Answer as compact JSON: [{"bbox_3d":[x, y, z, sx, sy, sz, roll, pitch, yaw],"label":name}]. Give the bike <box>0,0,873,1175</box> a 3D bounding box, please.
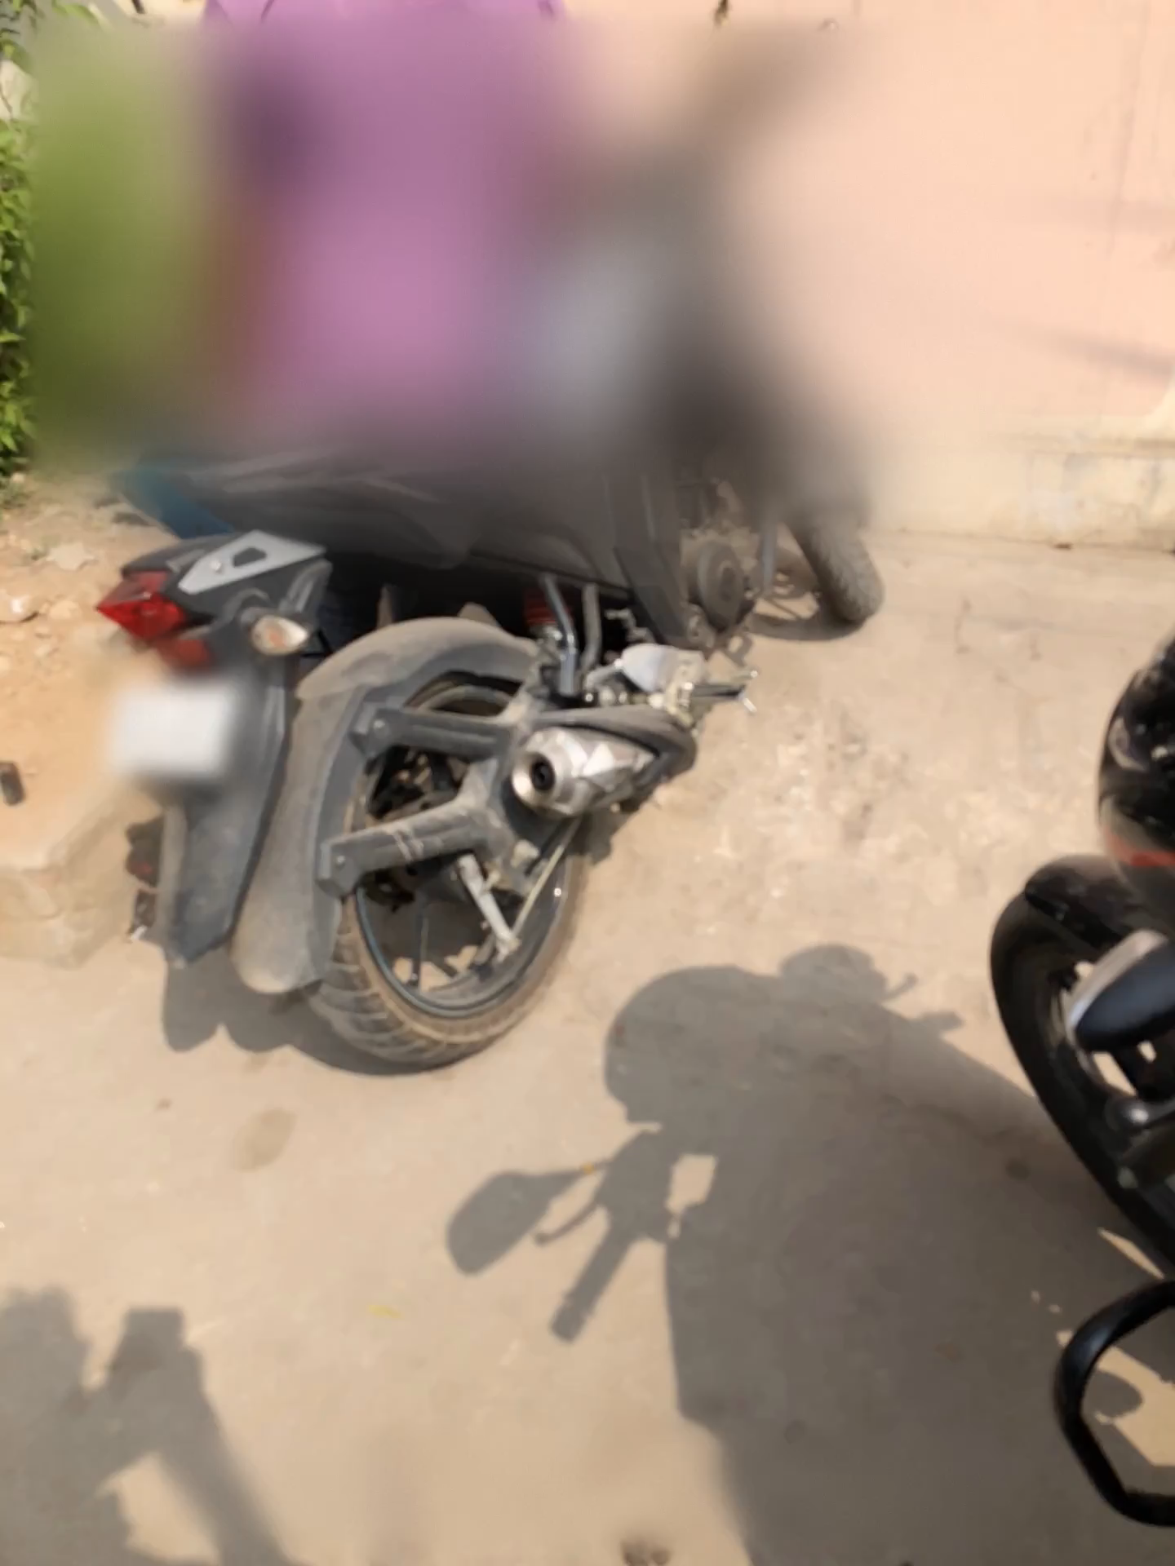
[{"bbox_3d":[-0.150,-0.672,2.133,0.808,1.222,1.838,10,39,21],"label":"bike"}]
